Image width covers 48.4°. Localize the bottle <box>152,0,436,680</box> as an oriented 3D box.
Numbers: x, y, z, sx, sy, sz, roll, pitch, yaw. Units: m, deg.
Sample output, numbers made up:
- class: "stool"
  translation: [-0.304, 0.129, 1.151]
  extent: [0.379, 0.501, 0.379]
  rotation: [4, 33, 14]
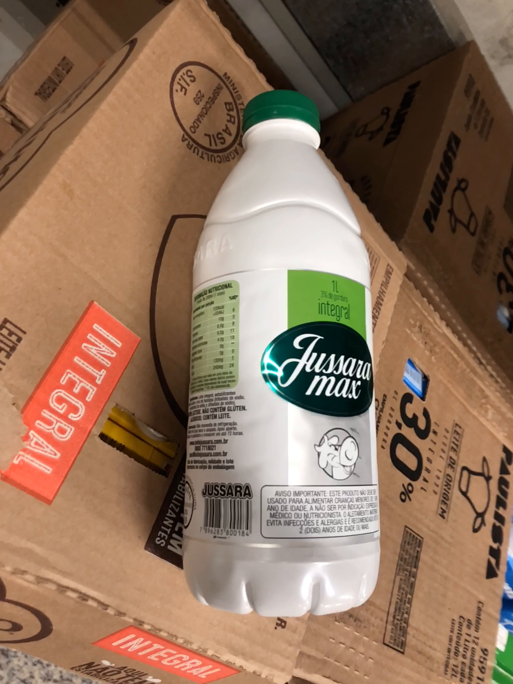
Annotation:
- class: "bottle"
  translation: [0.022, -0.003, 0.250]
  extent: [0.091, 0.060, 0.240]
  rotation: [12, 80, -40]
